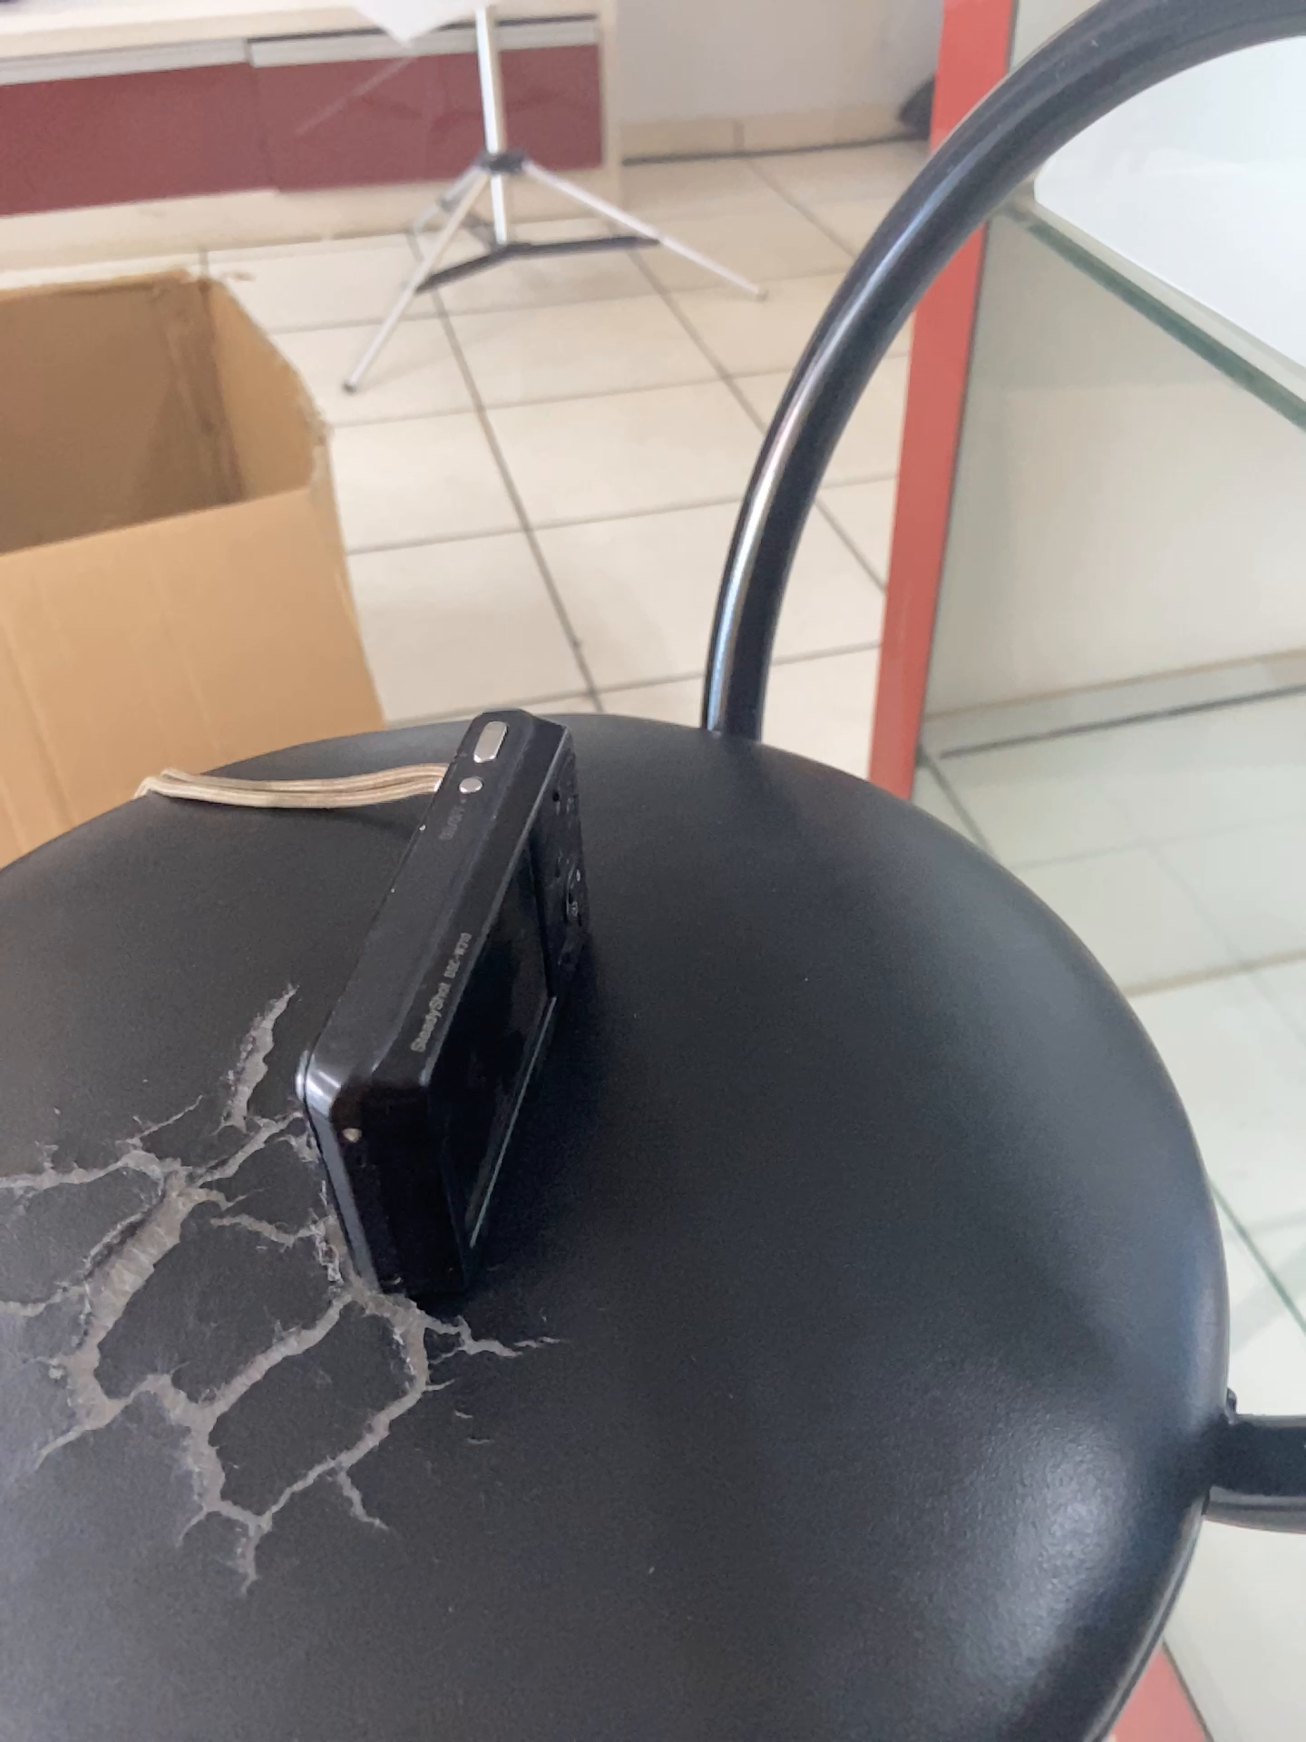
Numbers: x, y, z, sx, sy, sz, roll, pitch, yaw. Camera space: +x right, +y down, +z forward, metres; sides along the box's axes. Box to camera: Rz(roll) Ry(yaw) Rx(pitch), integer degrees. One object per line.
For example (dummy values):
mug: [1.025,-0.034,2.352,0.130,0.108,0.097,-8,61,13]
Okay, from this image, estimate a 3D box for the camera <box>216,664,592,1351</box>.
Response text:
camera: [-0.035,0.017,0.231,0.020,0.050,0.111,7,42,10]
